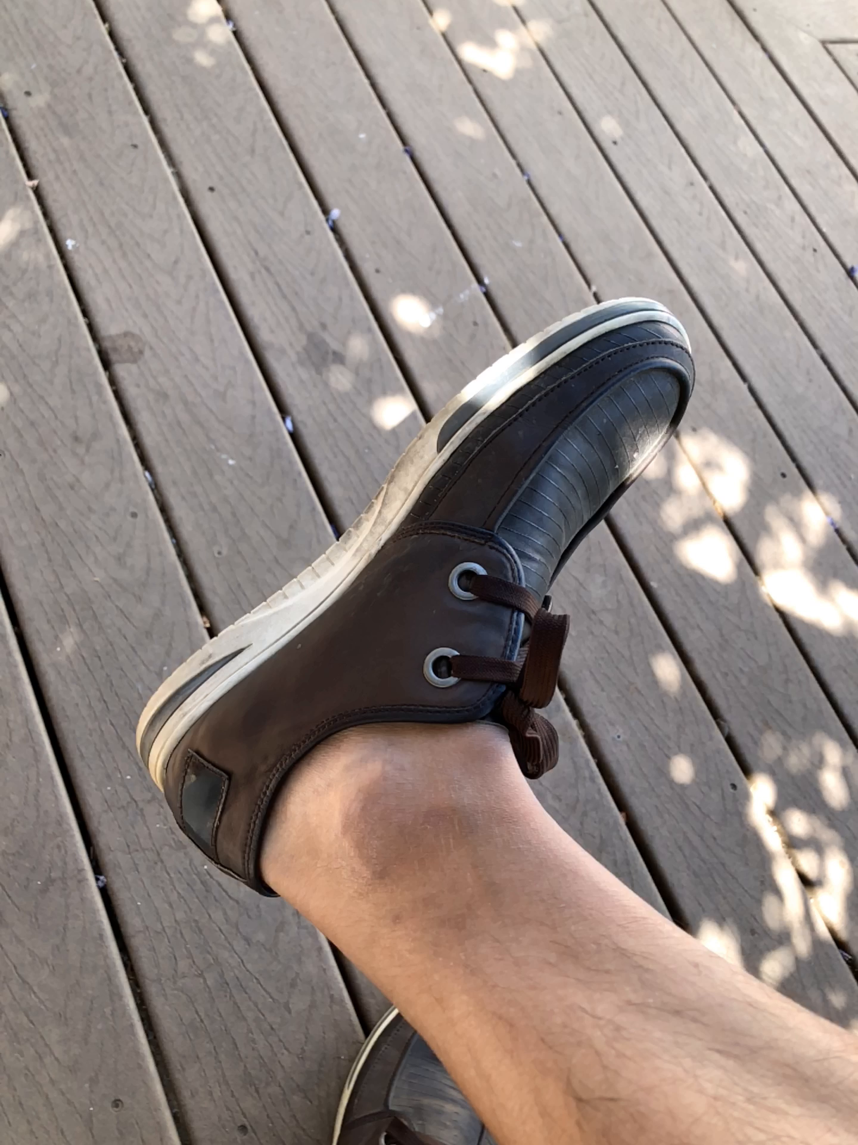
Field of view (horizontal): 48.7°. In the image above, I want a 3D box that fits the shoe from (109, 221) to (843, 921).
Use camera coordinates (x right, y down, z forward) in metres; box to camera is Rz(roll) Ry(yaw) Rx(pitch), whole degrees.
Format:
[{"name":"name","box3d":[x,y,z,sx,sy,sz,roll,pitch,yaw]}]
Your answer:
[{"name":"shoe","box3d":[0.019,0.012,0.380,0.275,0.103,0.092,-43,56,7]}]
